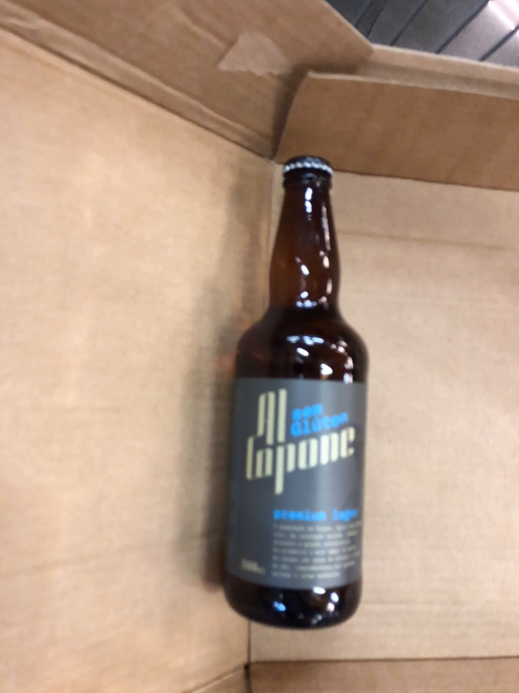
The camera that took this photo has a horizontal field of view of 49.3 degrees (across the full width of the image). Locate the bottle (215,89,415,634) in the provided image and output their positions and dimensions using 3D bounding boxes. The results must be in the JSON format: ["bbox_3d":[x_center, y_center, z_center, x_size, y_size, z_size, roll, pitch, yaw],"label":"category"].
[{"bbox_3d":[0.033,0.005,0.347,0.090,0.070,0.290,6,78,-23],"label":"bottle"}]

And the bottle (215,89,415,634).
[{"bbox_3d":[0.033,0.005,0.347,0.090,0.070,0.290,6,78,-23],"label":"bottle"}]
